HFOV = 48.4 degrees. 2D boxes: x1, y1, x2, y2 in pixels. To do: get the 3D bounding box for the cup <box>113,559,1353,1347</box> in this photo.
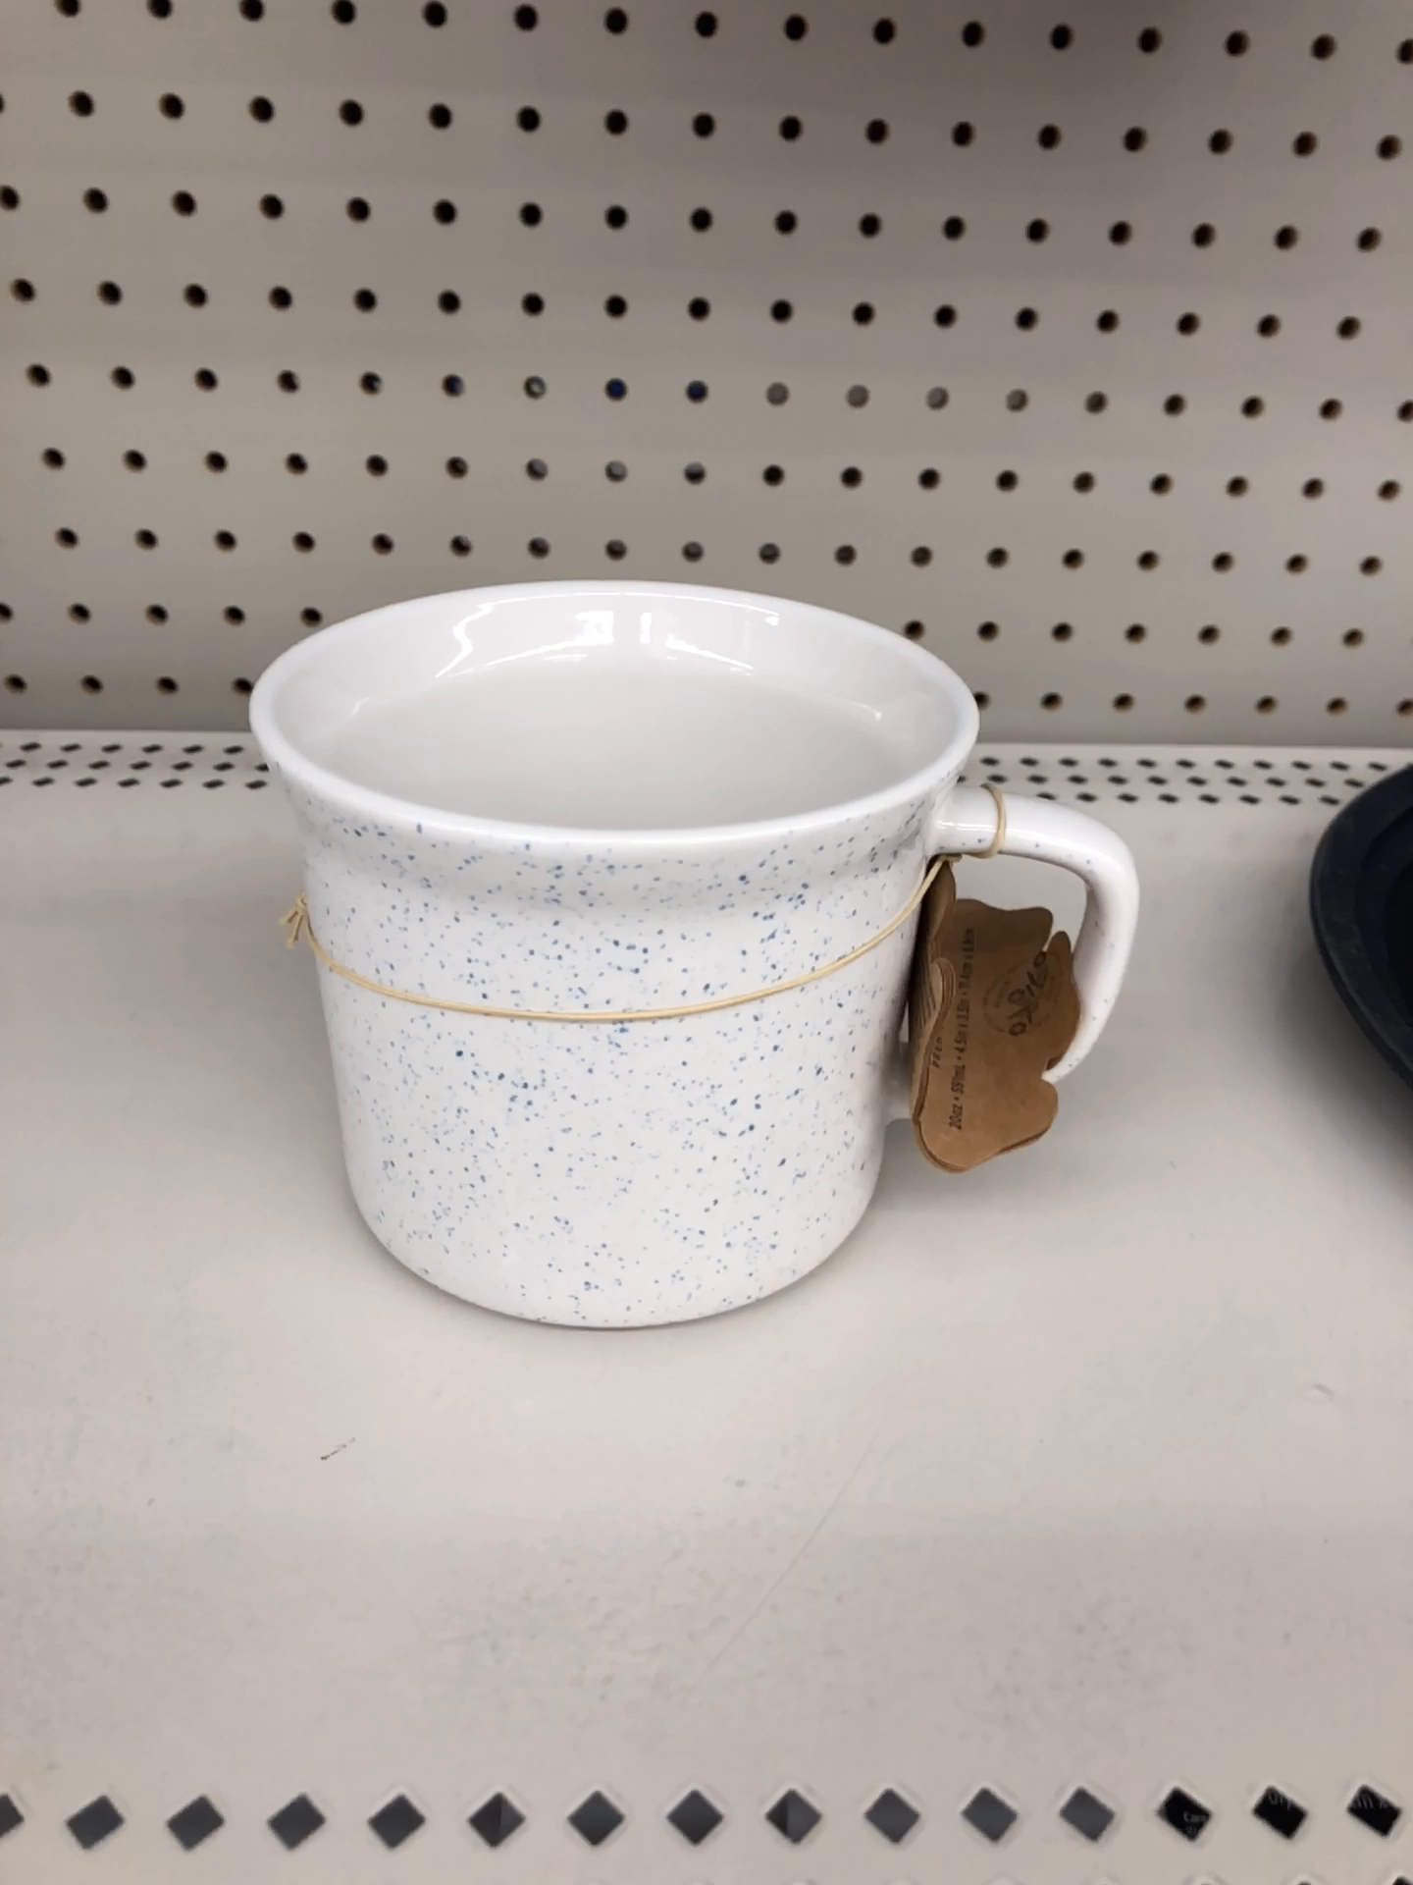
[{"bbox_3d":[0.000,-0.006,0.266,0.159,0.090,0.102,-1,30,-5],"label":"cup"}]
